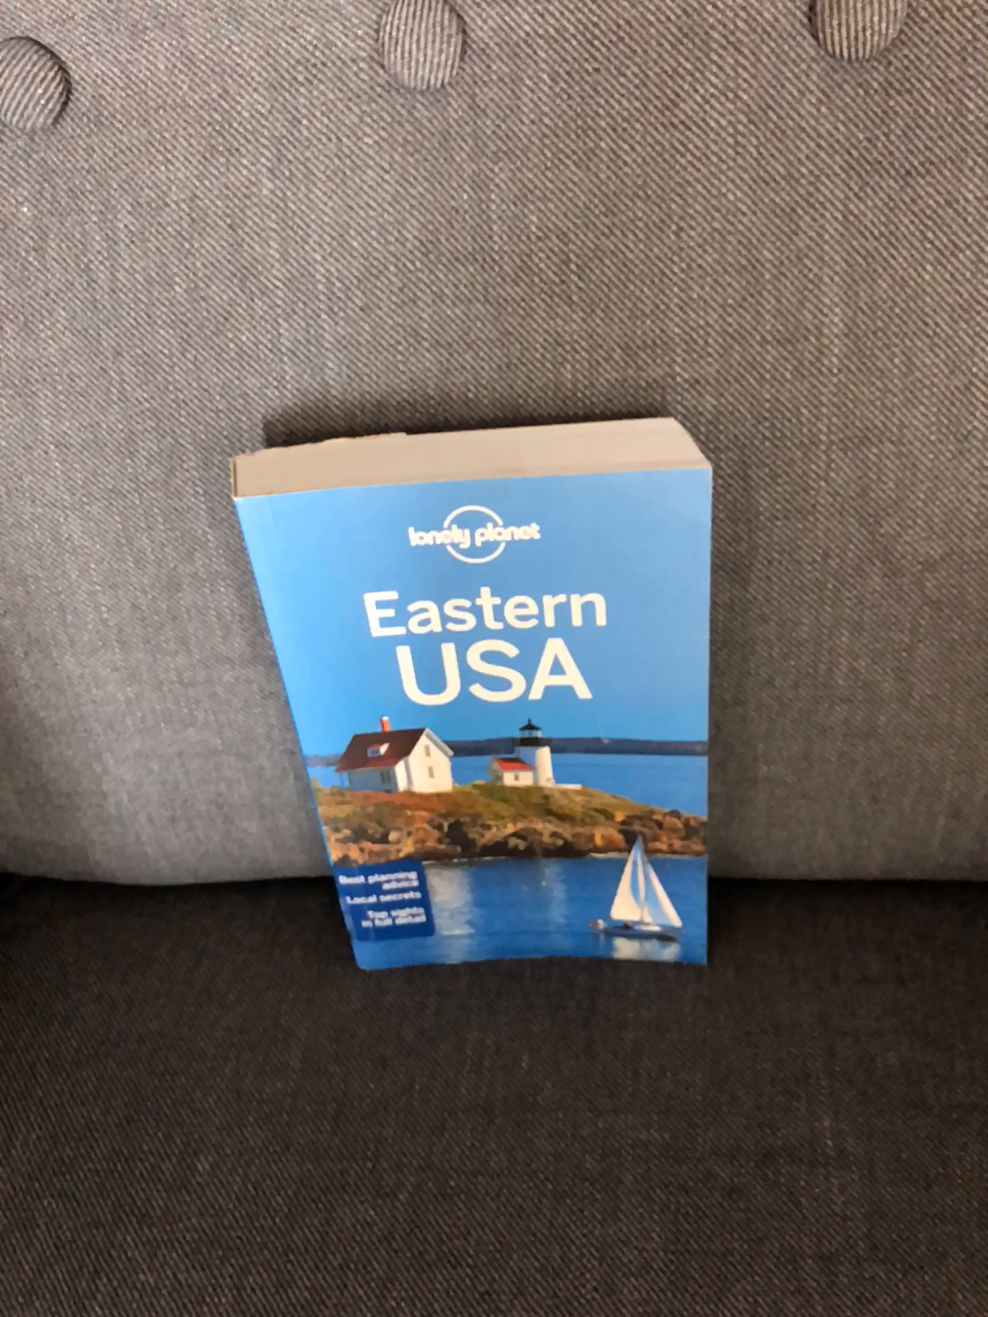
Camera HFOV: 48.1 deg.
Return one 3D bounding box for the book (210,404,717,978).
[{"bbox_3d":[0.002,0.022,0.362,0.134,0.200,0.039,-1,36,9],"label":"book"}]
